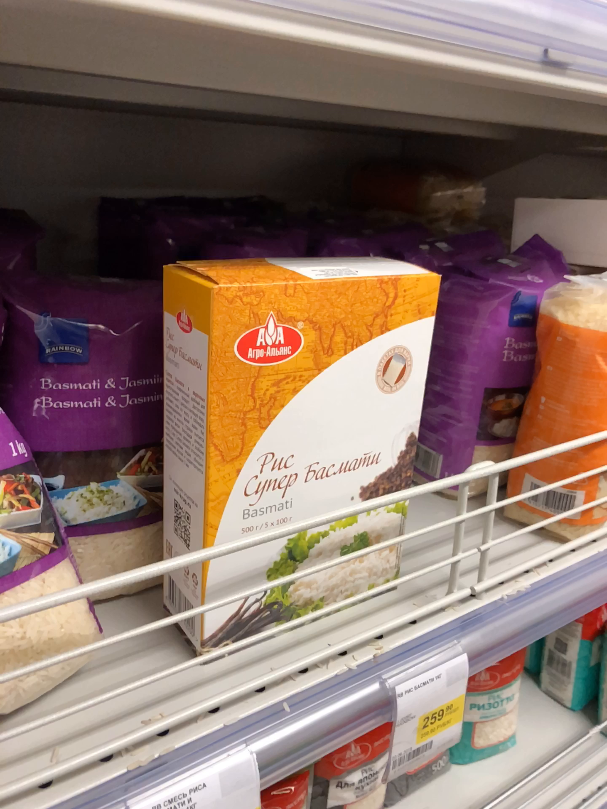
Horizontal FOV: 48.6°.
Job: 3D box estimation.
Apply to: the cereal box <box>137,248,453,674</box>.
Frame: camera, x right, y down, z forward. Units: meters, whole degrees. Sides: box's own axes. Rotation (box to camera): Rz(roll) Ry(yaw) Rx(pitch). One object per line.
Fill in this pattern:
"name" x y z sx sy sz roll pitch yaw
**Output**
"cereal box" -0.005 0.021 0.352 0.140 0.189 0.060 -10 23 -31
